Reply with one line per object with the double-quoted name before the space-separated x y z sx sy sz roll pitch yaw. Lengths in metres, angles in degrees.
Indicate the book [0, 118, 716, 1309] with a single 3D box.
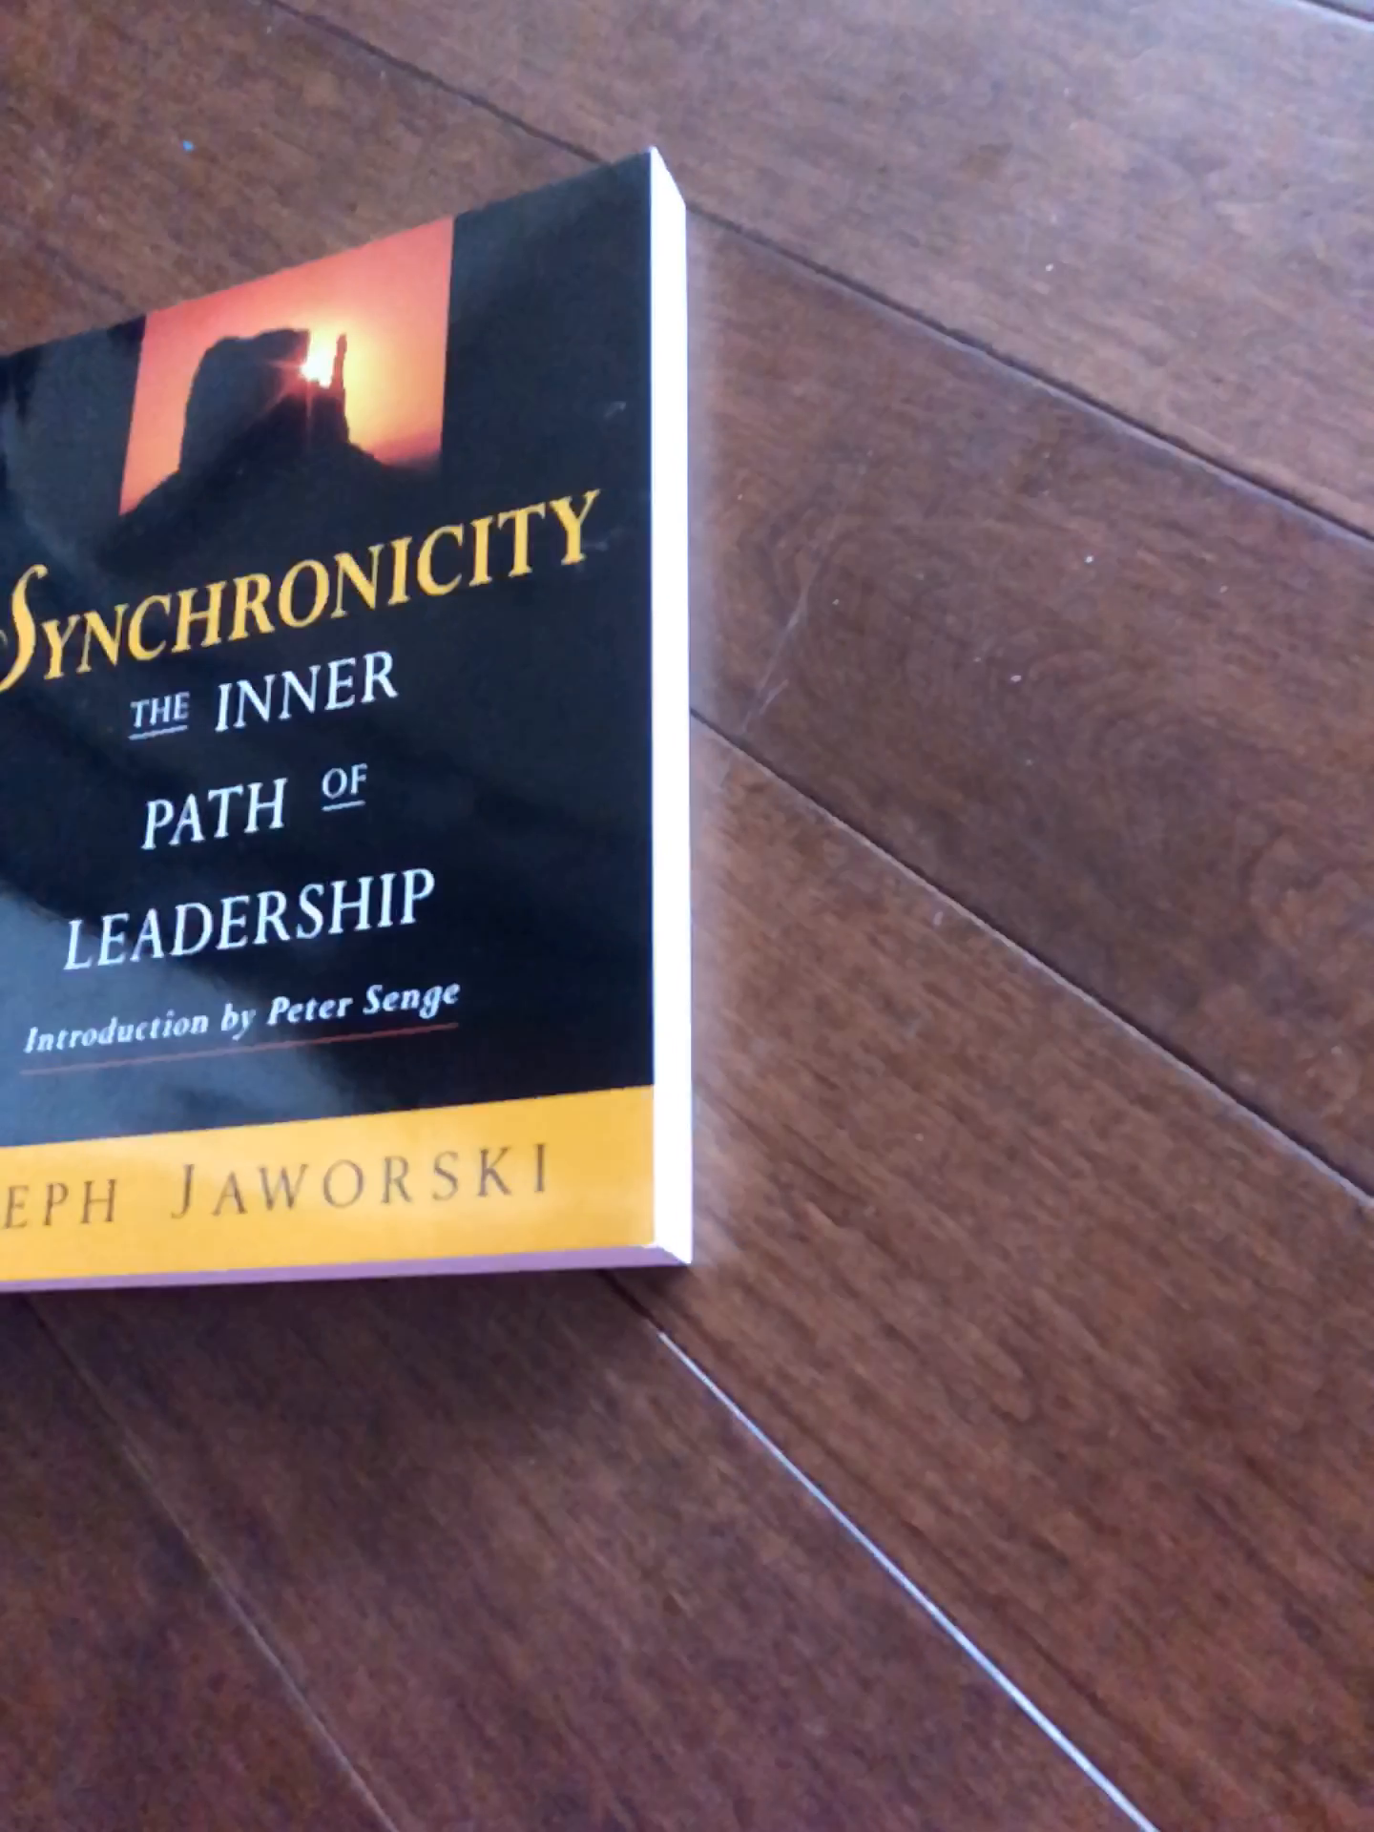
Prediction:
"book" -0.090 -0.038 0.315 0.190 0.030 0.223 -8 70 21
